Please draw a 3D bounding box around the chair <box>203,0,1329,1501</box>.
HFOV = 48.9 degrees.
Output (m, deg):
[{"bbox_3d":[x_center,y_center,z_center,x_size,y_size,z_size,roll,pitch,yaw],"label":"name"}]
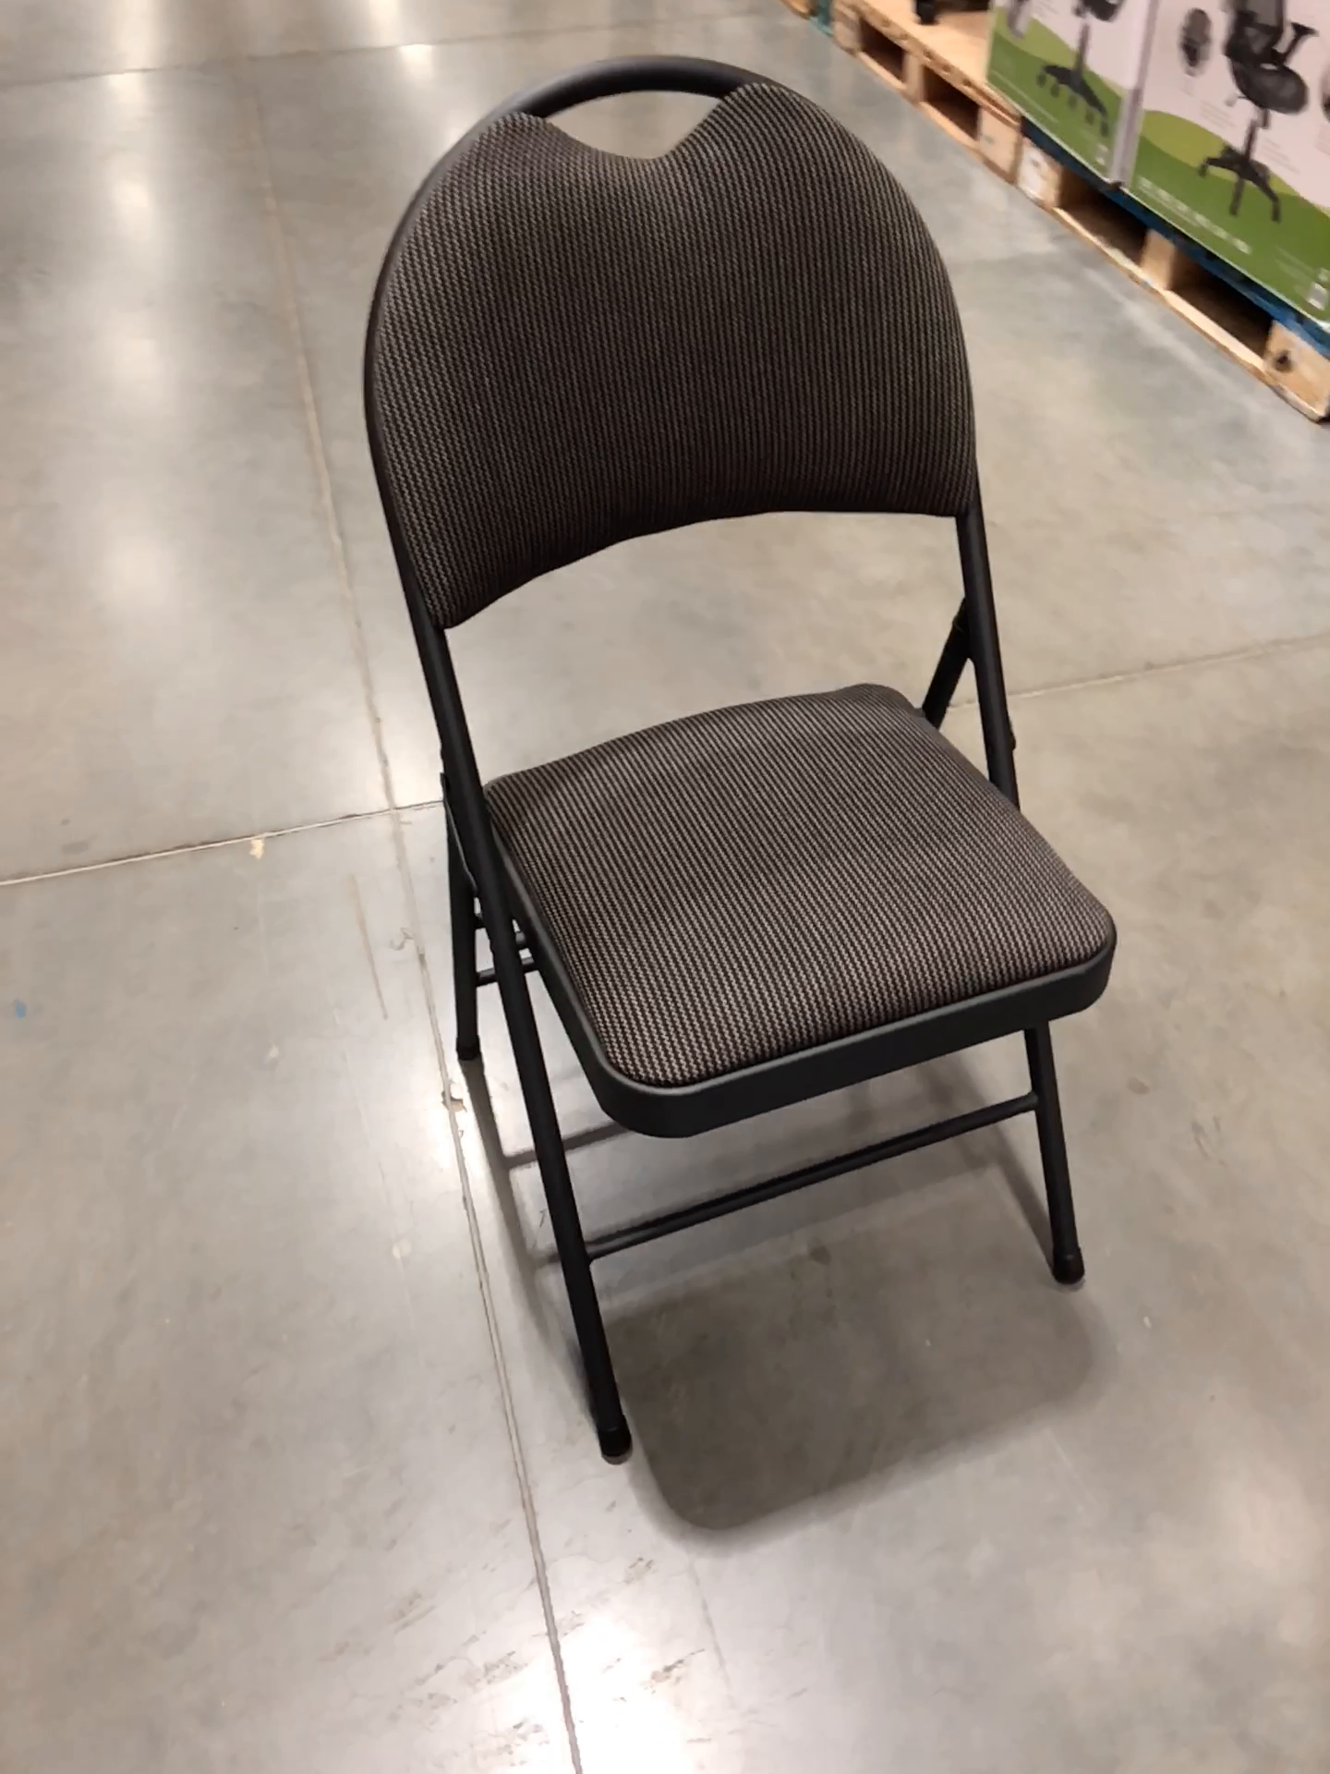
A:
[{"bbox_3d":[0.053,-0.085,1.074,0.520,0.866,0.562,-13,45,-12],"label":"chair"}]
